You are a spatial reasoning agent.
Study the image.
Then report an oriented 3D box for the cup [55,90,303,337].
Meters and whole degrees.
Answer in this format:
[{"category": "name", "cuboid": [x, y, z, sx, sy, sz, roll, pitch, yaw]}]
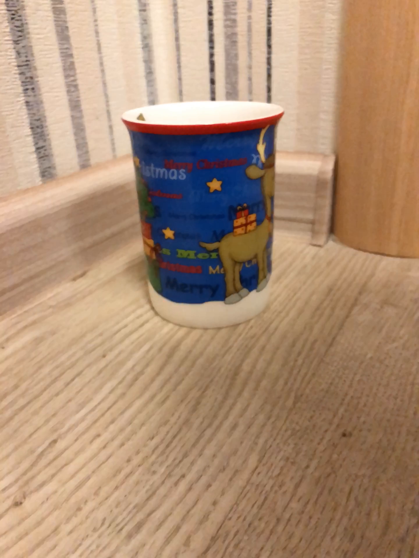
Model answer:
[{"category": "cup", "cuboid": [-0.003, -0.047, 0.259, 0.087, 0.094, 0.121, 6, 28, 18]}]
